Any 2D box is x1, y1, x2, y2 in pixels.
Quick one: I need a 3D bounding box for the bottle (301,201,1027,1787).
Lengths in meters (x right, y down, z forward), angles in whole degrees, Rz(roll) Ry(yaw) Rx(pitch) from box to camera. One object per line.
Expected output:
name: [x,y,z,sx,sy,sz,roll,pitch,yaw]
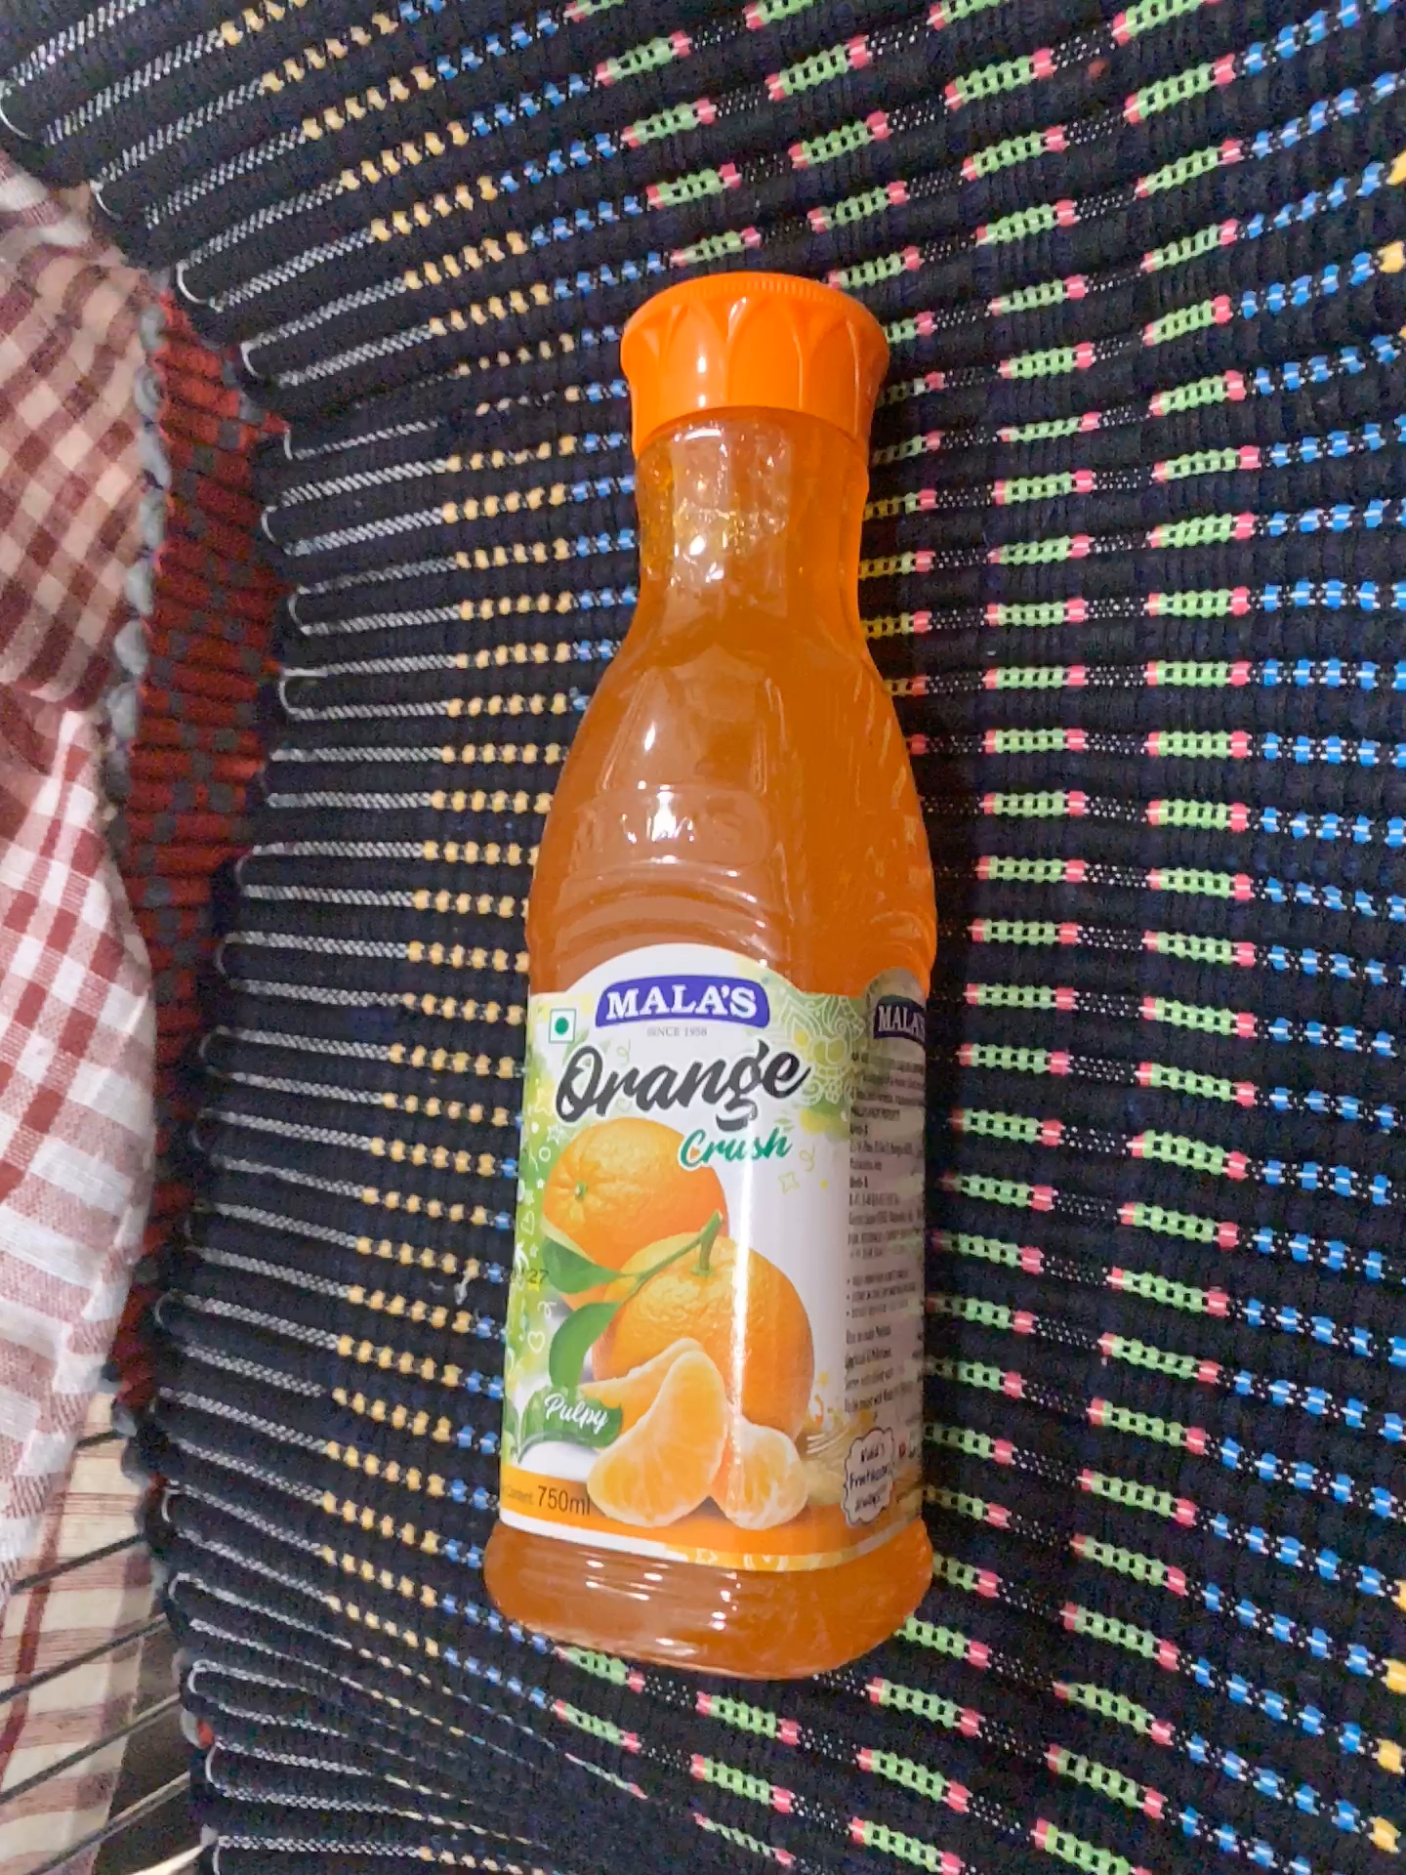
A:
bottle: [0.001,0.006,0.254,0.080,0.080,0.220,0,80,28]
